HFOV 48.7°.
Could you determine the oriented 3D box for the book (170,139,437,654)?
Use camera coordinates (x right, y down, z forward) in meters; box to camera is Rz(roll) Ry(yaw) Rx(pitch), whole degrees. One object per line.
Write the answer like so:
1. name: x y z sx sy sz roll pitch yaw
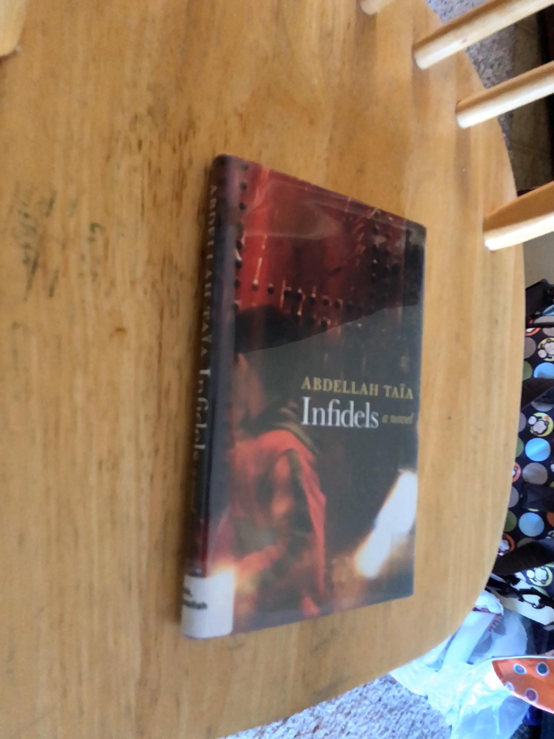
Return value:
1. book: 0.023 0.015 0.307 0.143 0.020 0.216 7 83 -37
